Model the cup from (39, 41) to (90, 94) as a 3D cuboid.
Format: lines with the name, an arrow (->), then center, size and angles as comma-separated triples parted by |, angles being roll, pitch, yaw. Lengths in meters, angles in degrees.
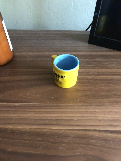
cup -> 0.007, -0.031, 0.297 | 0.060, 0.060, 0.090 | -34, 57, -25
